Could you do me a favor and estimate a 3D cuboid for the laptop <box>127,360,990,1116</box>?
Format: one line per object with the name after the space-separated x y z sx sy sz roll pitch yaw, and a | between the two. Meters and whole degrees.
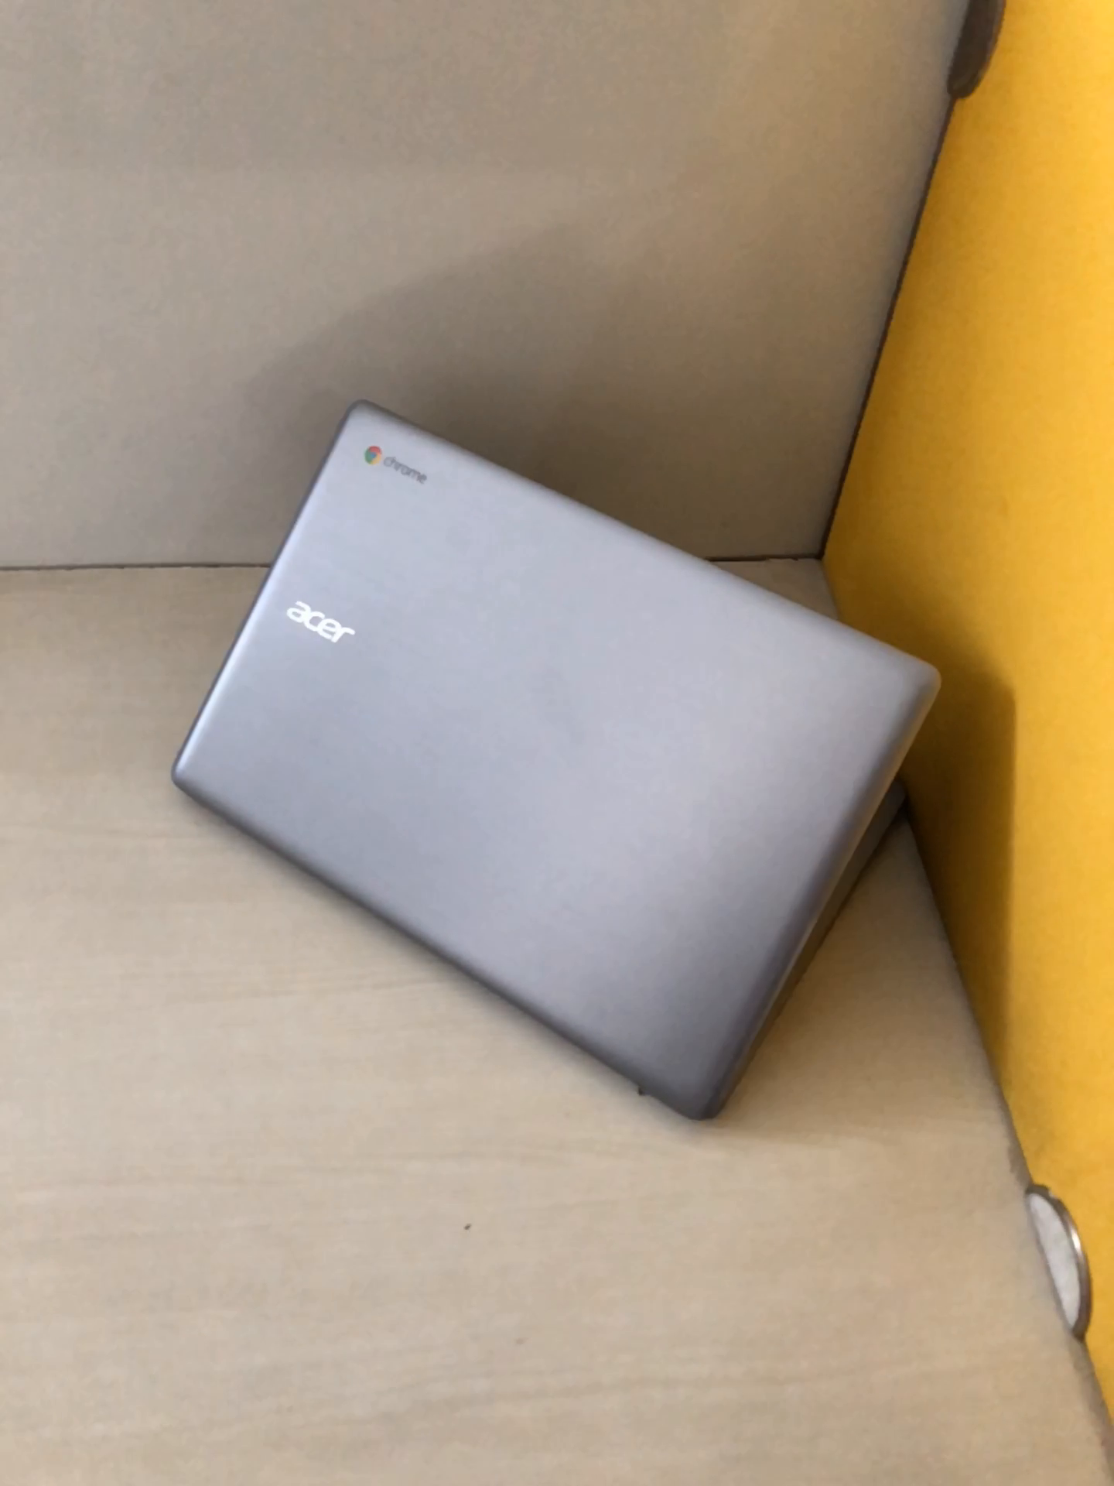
0.000 -0.020 0.598 0.315 0.135 0.222 29 55 18 | laptop
